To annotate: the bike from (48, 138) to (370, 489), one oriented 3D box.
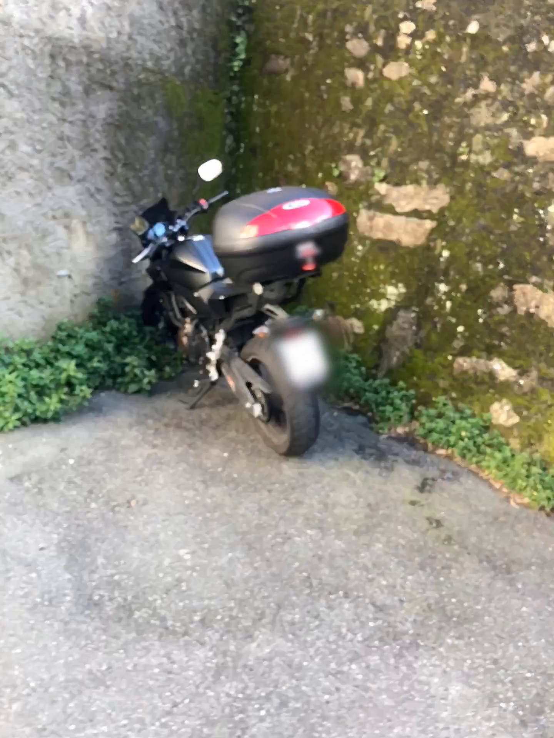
[{"bbox_3d":[-0.486,-0.448,3.269,0.712,1.198,1.788,-10,26,-37],"label":"bike"}]
